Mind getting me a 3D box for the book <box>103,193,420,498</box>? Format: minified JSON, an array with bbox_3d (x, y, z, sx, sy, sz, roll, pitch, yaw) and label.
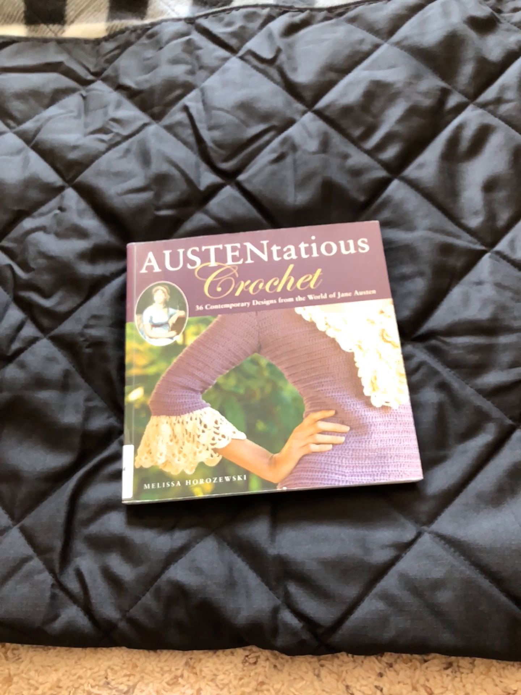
[{"bbox_3d":[-0.008,-0.010,0.455,0.220,0.020,0.230,-6,67,3],"label":"book"}]
